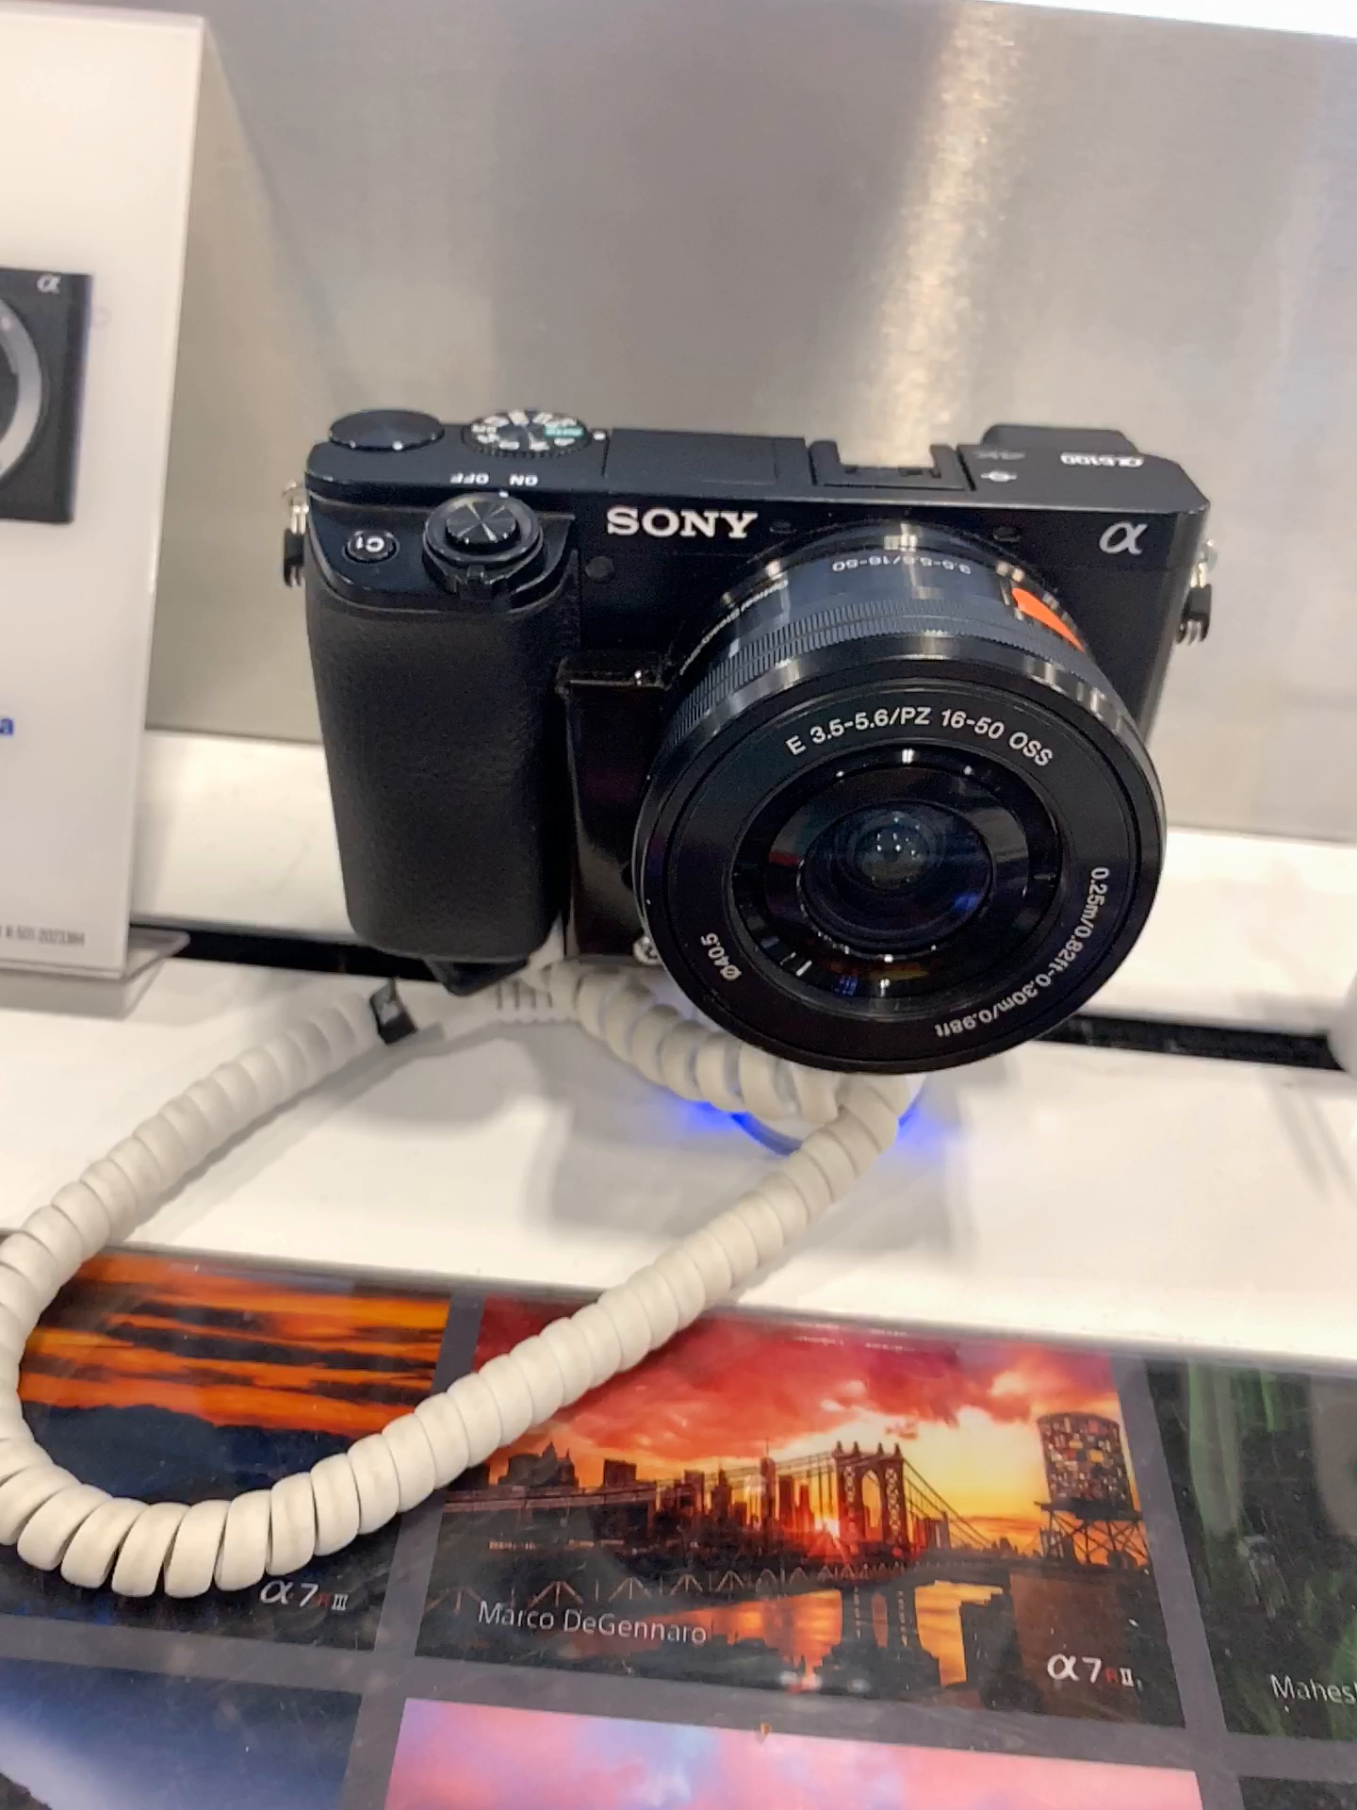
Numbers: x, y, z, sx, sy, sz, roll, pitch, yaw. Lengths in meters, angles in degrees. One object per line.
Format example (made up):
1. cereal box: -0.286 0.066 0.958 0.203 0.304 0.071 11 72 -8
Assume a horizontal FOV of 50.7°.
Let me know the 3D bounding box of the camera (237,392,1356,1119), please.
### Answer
1. camera: 0.011 -0.021 0.198 0.120 0.070 0.070 1 39 -6
